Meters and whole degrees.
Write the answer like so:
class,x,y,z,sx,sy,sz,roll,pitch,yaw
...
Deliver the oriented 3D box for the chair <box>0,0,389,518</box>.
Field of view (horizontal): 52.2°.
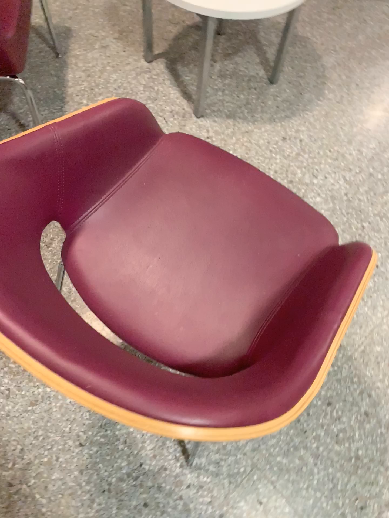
class,x,y,z,sx,sy,sz,roll,pitch,yaw
chair,0.009,-0.030,0.770,0.571,0.736,0.632,36,65,14
